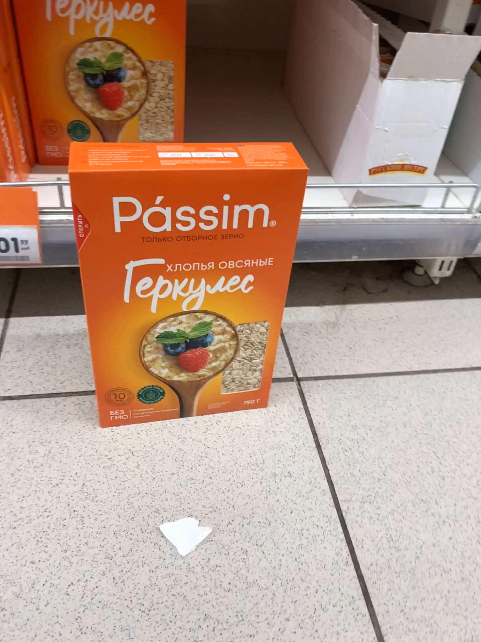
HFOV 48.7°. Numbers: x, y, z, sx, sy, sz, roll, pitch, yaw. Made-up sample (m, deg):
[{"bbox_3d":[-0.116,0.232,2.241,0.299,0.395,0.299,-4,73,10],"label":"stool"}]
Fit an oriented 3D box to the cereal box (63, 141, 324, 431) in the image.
[{"bbox_3d":[-0.042,-0.018,0.442,0.170,0.249,0.050,-5,41,-13],"label":"cereal box"}]
